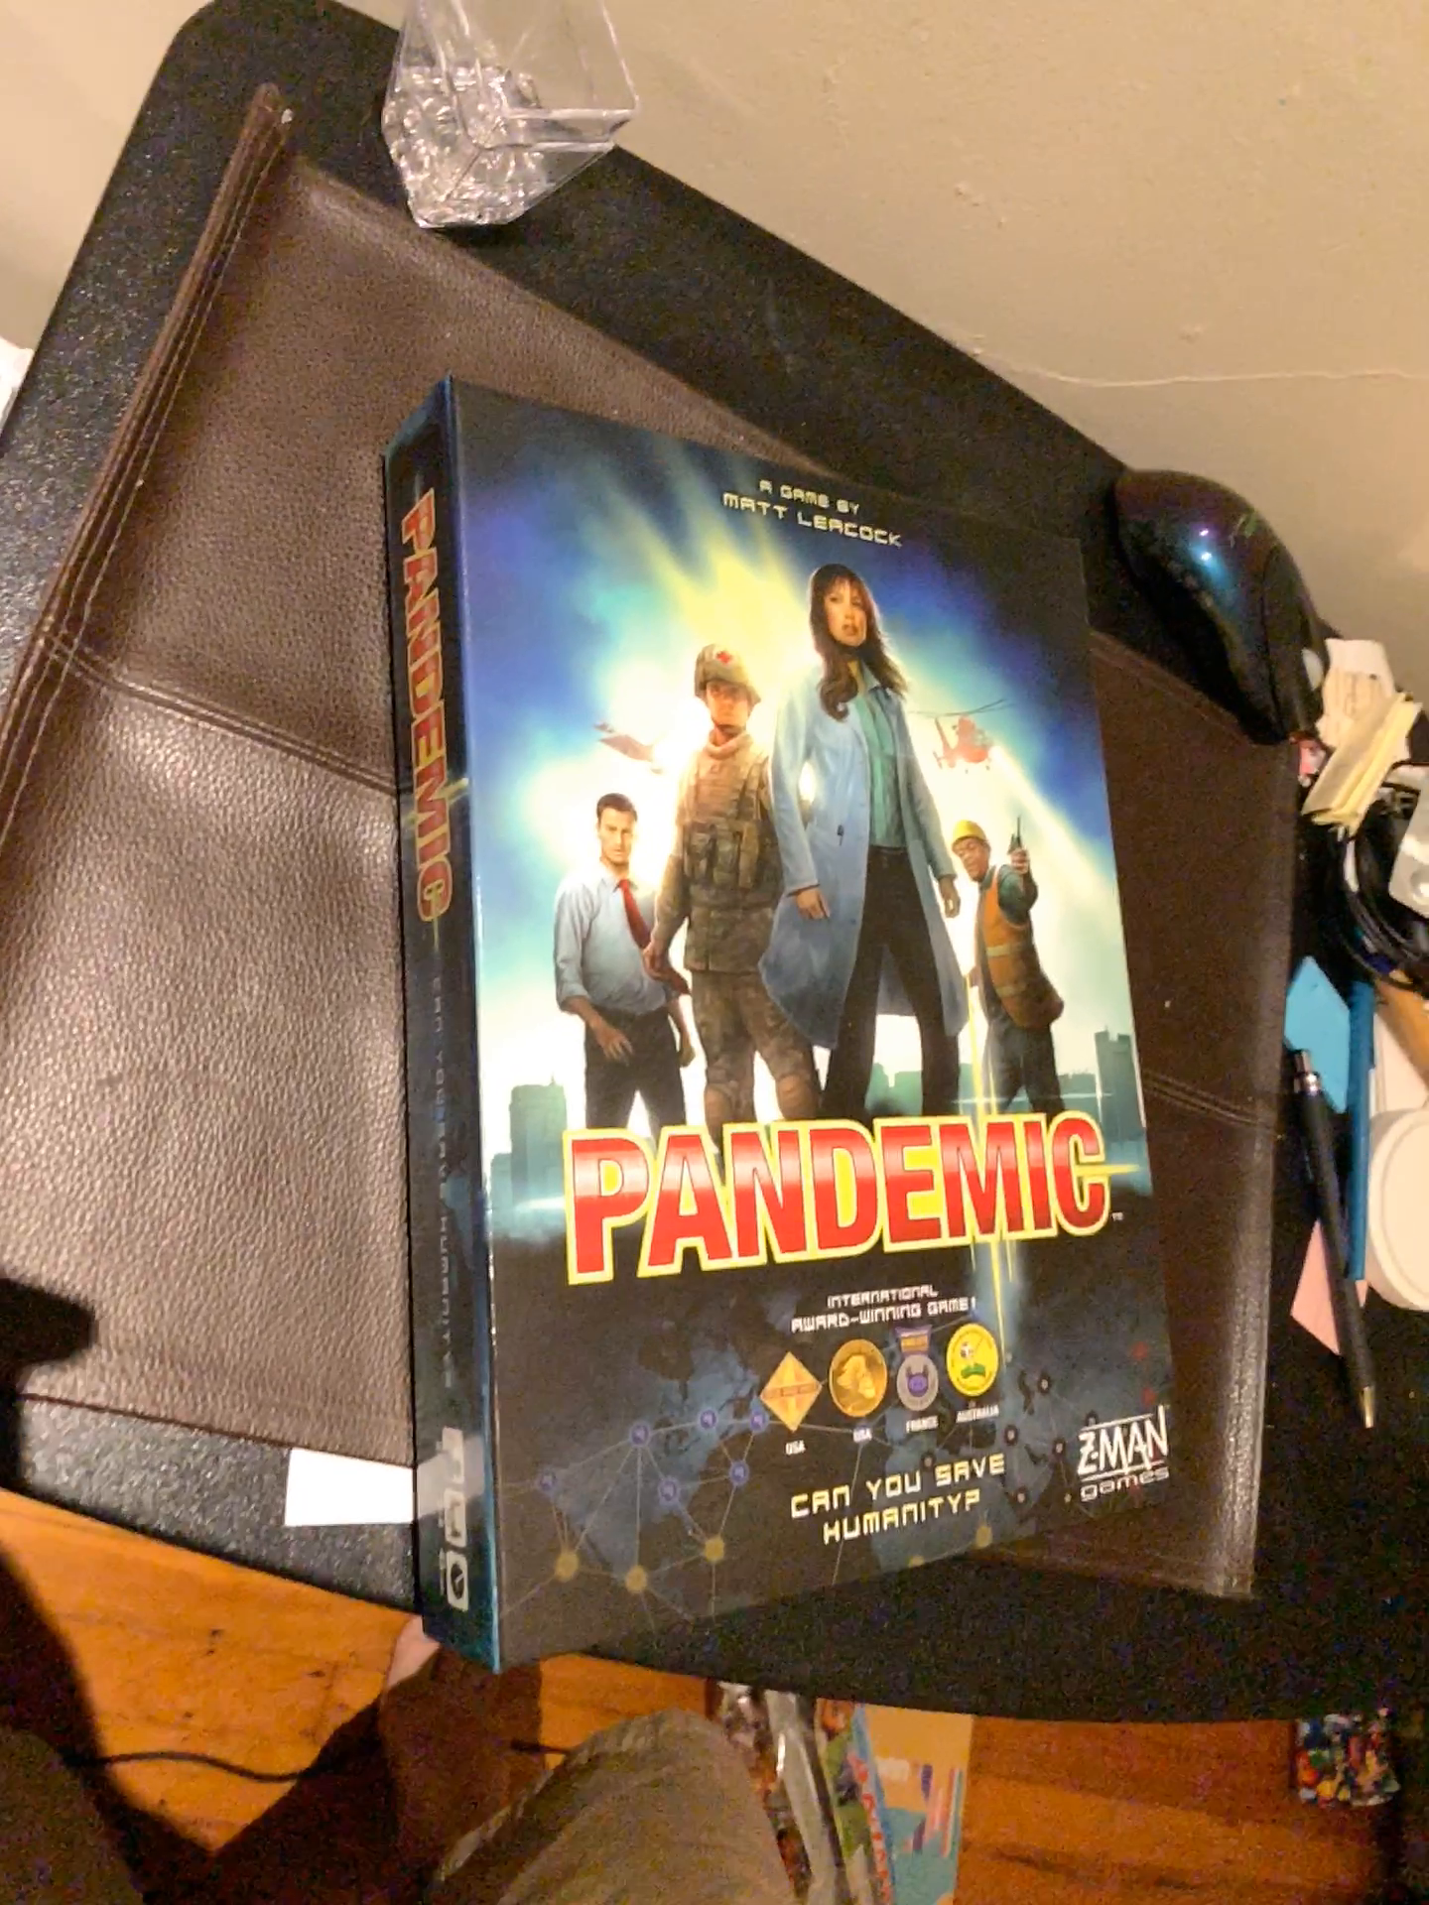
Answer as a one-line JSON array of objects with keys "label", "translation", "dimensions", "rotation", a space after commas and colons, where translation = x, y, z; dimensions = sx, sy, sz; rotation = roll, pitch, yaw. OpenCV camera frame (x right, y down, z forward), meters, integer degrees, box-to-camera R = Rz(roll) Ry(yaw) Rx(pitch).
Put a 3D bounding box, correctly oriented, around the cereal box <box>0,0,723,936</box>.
[{"label": "cereal box", "translation": [-0.545, -0.433, 1.005], "dimensions": [0.471, 0.997, 0.510], "rotation": [-33, 98, -33]}]
